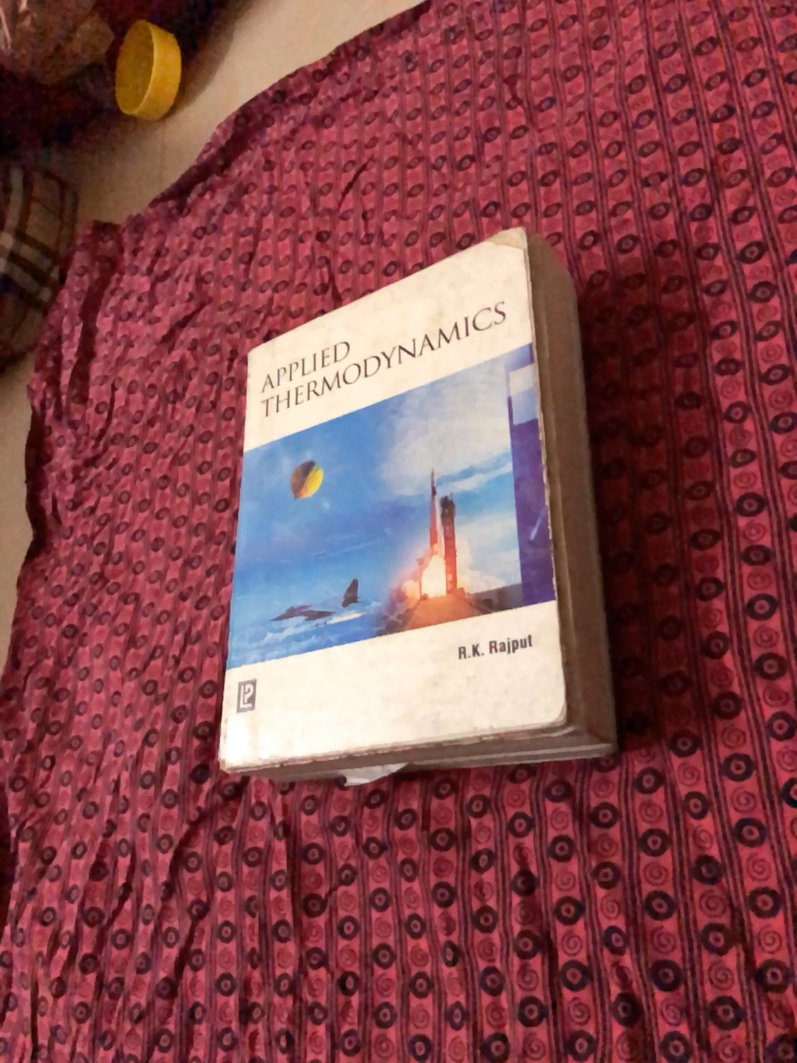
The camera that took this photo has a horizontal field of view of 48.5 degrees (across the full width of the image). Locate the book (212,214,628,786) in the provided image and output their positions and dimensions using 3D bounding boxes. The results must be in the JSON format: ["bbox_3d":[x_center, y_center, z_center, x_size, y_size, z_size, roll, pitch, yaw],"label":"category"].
[{"bbox_3d":[0.004,-0.009,0.436,0.179,0.060,0.240,-15,62,32],"label":"book"}]
